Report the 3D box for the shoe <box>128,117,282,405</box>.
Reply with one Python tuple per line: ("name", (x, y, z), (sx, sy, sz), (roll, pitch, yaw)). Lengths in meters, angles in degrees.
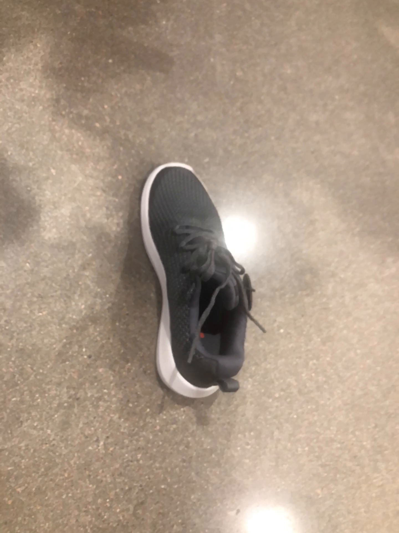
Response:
("shoe", (-0.002, -0.002, 0.458), (0.116, 0.084, 0.265), (4, 74, -26))
